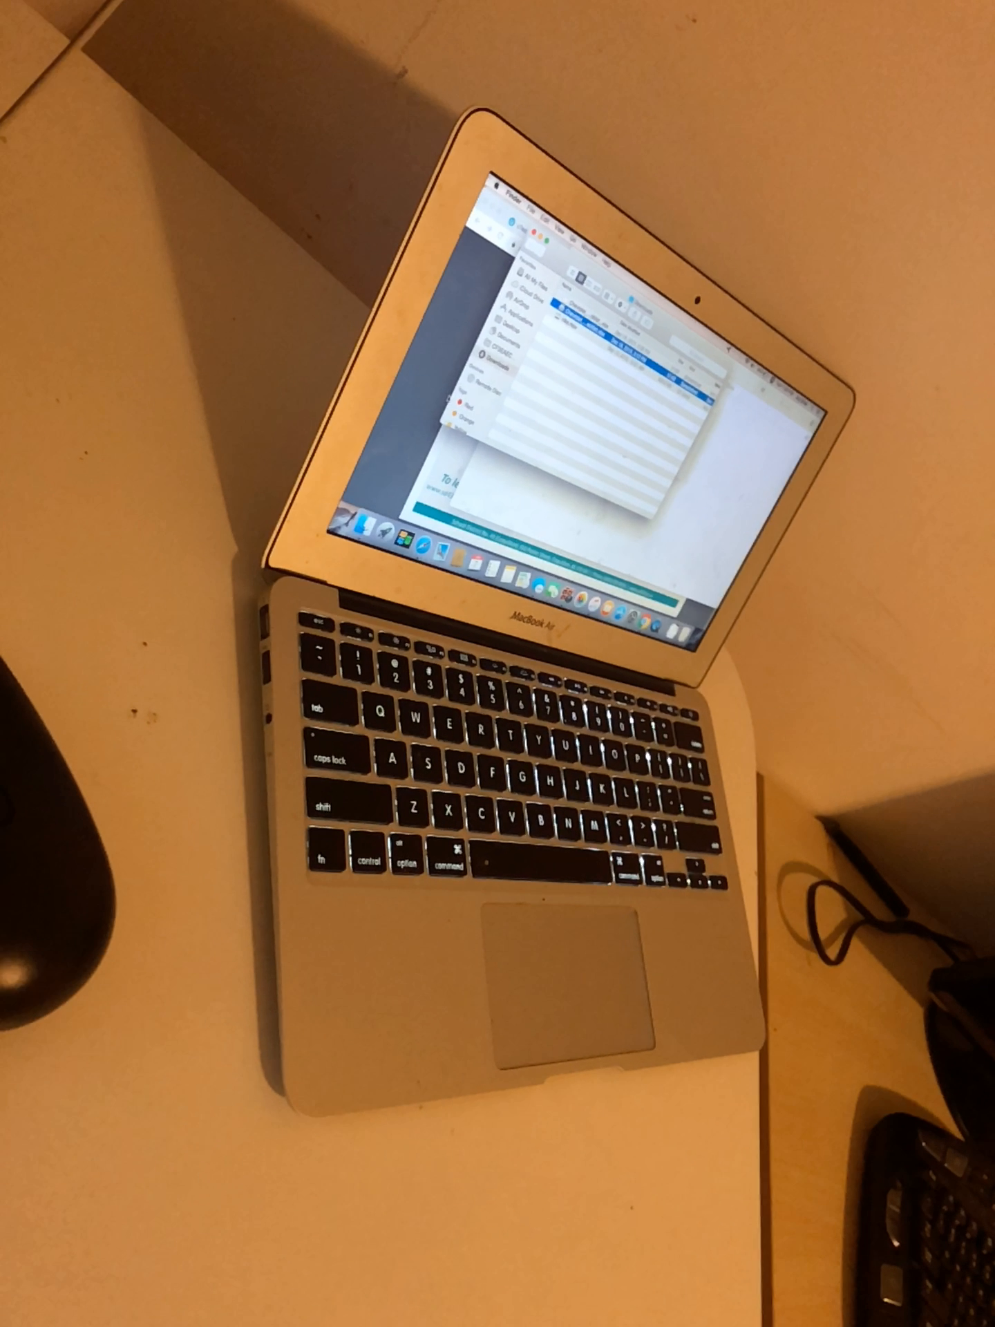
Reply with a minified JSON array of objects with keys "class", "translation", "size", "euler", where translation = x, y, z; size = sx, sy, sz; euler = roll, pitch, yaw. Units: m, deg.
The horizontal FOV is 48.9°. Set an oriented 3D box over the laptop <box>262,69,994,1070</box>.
[{"class":"laptop","translation":[0.061,-0.012,0.457],"size":[0.281,0.127,0.305],"euler":[14,63,-44]}]
